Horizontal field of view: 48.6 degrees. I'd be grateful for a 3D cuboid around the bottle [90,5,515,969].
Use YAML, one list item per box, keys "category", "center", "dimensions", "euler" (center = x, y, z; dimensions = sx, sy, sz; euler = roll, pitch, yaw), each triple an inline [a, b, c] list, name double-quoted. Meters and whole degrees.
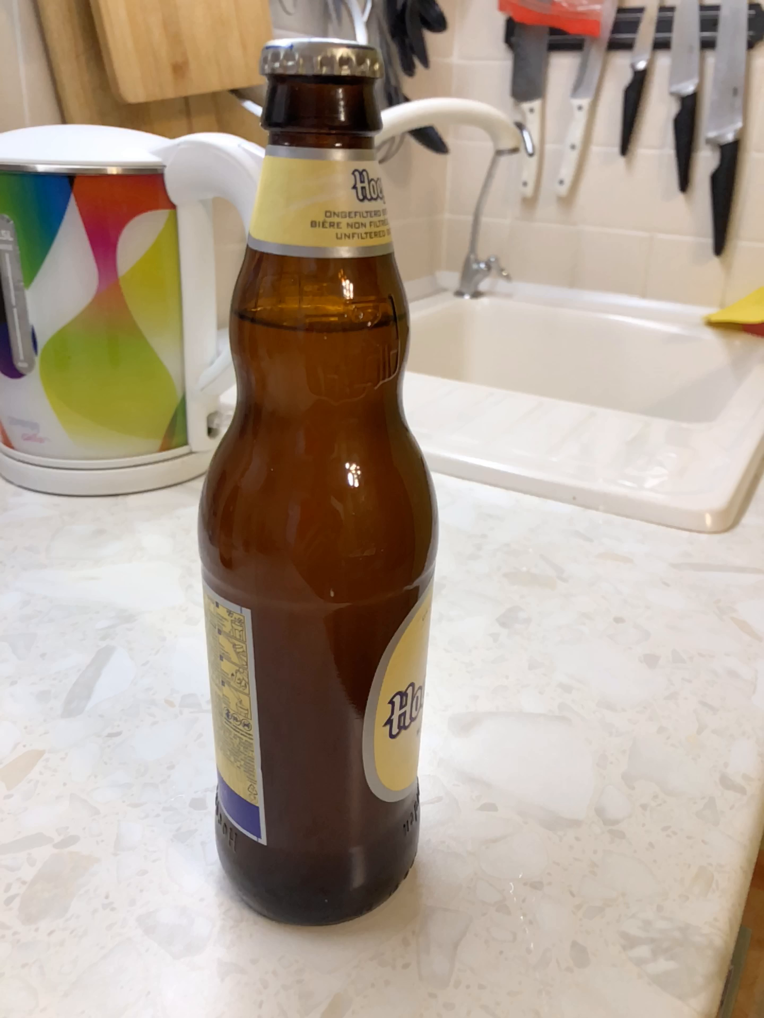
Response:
- category: "bottle"
  center: [-0.023, 0.007, 0.240]
  dimensions: [0.080, 0.248, 0.070]
  euler: [-2, 24, -10]
